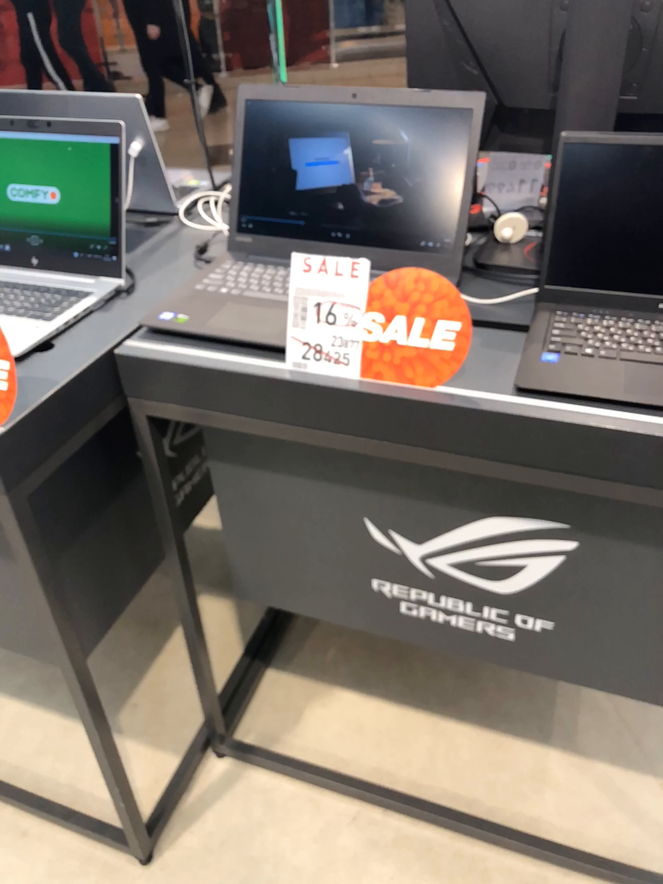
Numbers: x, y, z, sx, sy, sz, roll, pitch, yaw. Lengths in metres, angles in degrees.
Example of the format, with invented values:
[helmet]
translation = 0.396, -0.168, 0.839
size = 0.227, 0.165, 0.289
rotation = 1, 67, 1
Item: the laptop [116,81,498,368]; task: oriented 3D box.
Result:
[laptop]
translation = -0.010, -0.318, 1.001
size = 0.382, 0.235, 0.336
rotation = 11, 39, 19
